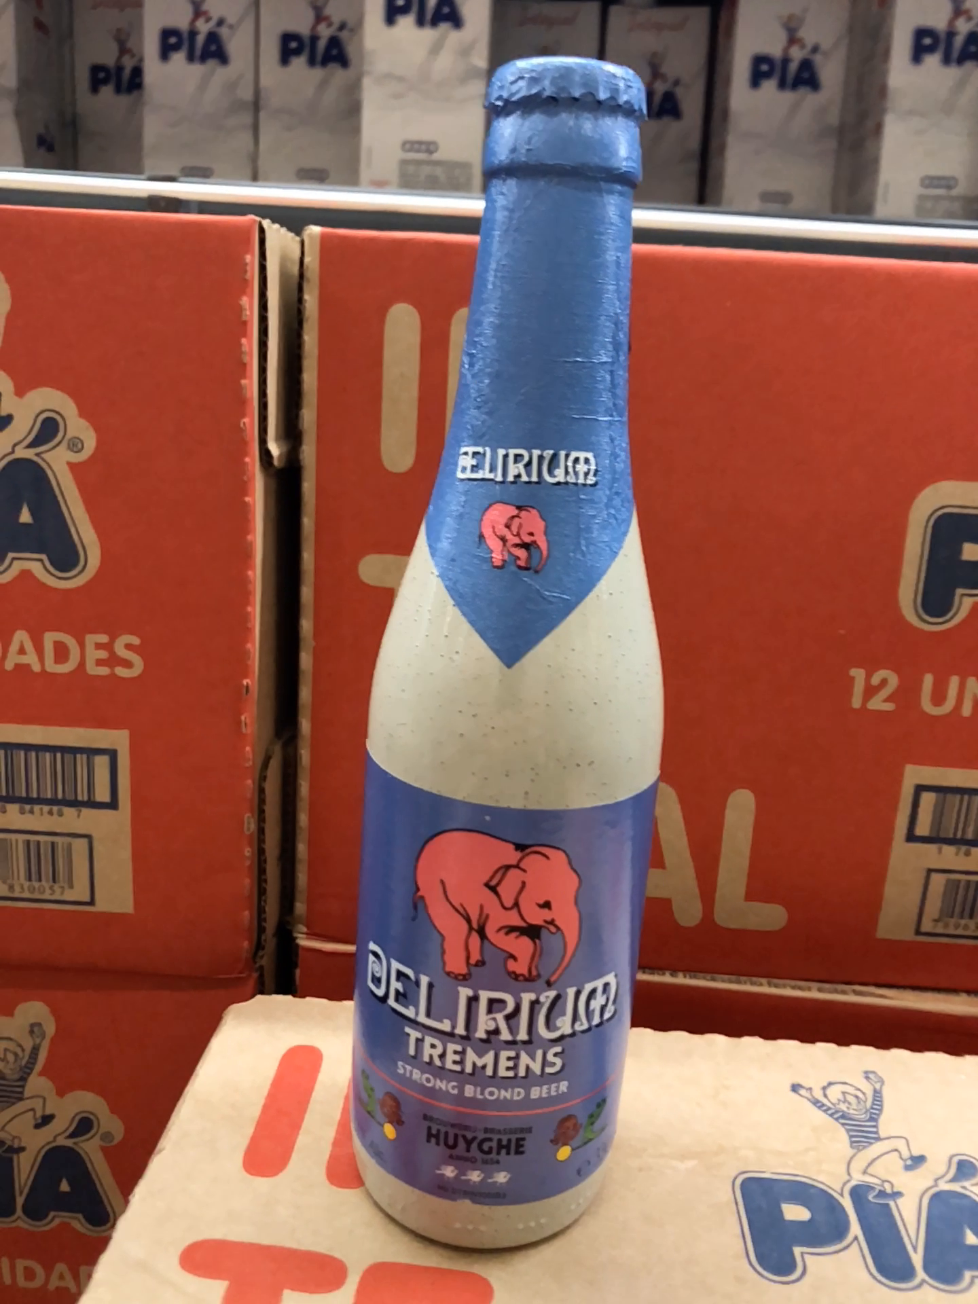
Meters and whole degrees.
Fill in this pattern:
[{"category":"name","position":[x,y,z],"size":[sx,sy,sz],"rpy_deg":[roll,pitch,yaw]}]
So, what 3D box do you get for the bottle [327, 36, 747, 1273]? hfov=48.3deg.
[{"category":"bottle","position":[0.008,0.004,0.223],"size":[0.060,0.219,0.060],"rpy_deg":[3,11,-1]}]
